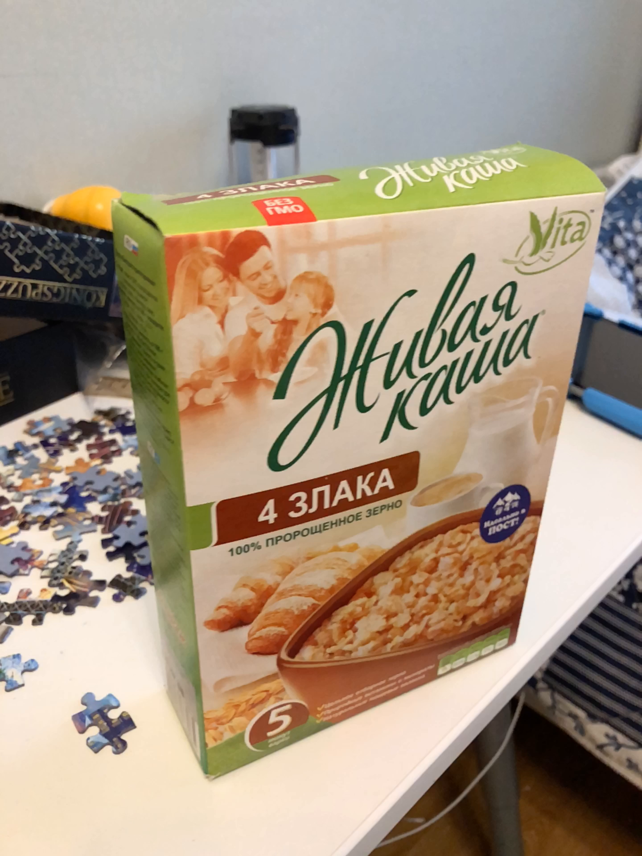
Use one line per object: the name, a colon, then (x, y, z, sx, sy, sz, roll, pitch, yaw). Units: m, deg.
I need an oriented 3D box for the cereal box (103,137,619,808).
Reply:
cereal box: (0.013, 0.015, 0.251, 0.140, 0.209, 0.050, -13, 31, -25)
